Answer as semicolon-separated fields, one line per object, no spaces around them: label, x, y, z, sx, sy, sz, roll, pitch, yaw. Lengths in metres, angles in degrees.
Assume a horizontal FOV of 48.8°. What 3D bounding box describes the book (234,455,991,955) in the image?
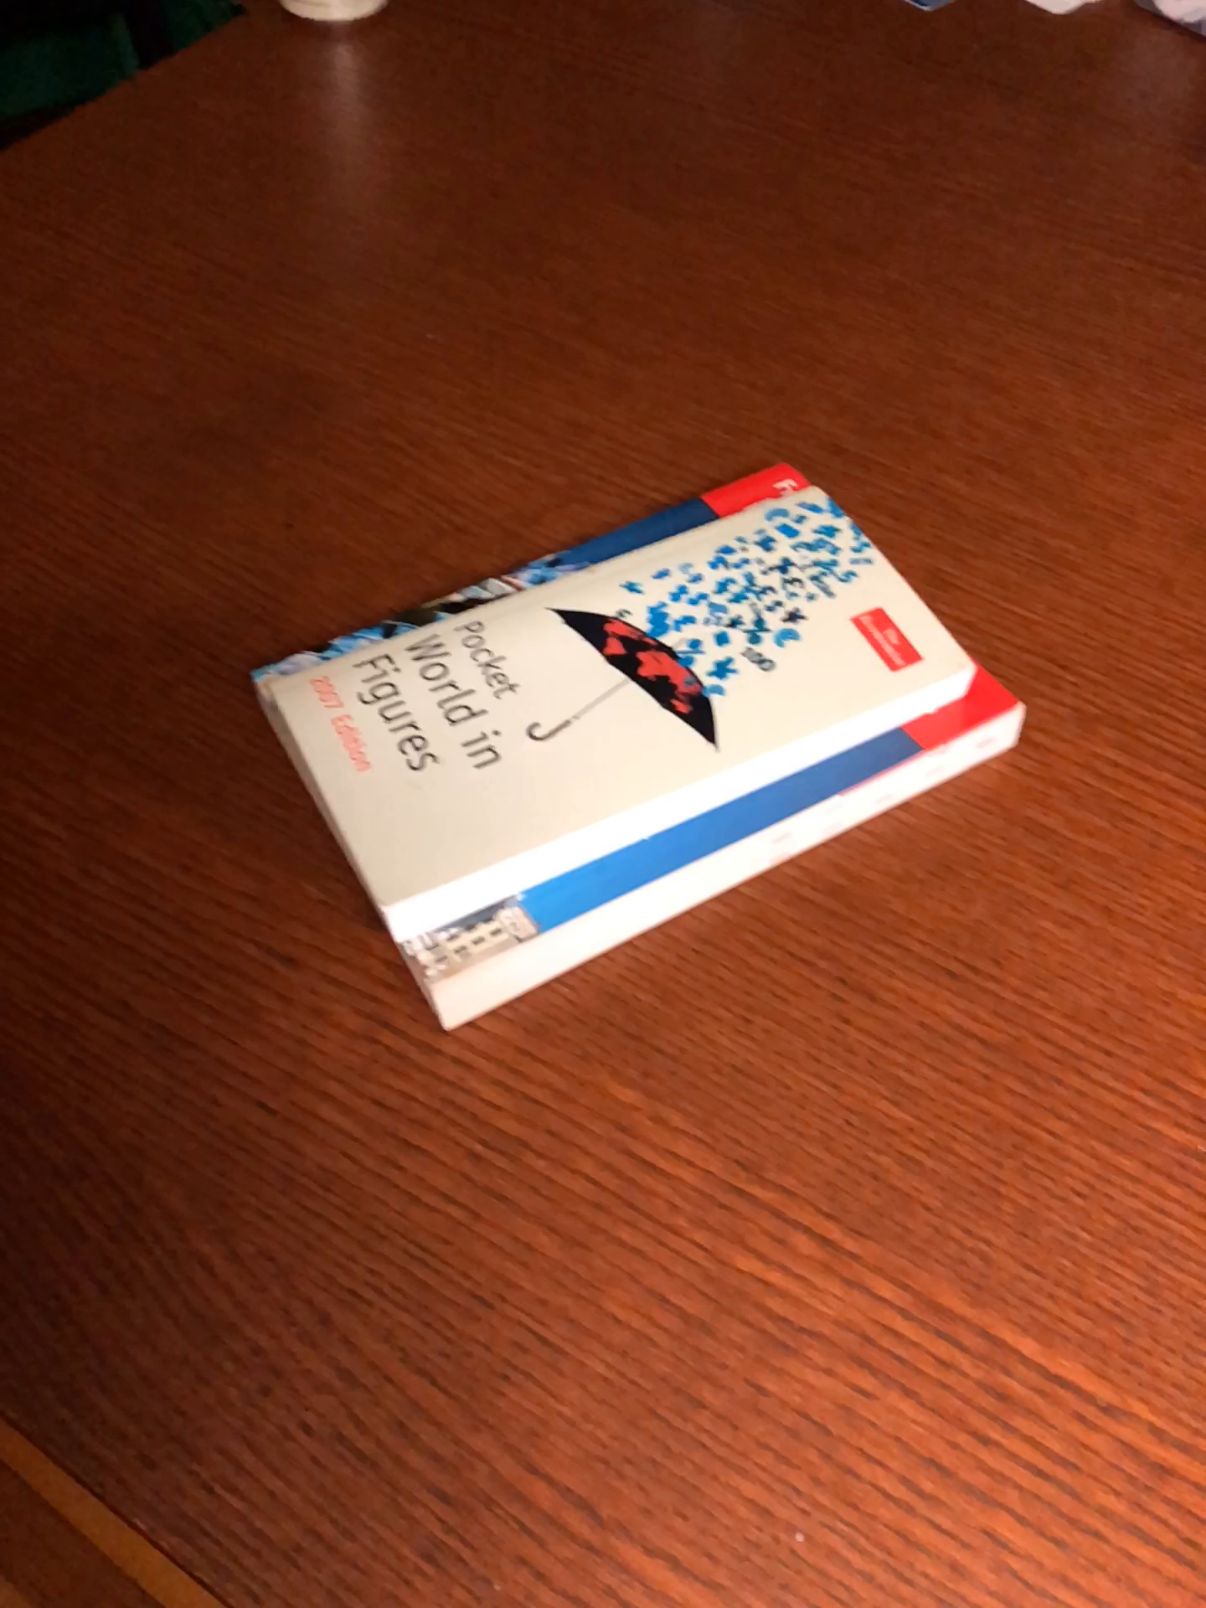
book;0.003;-0.039;0.400;0.200;0.020;0.100;-22;58;-16

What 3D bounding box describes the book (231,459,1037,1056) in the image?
book;0.008;-0.028;0.423;0.210;0.020;0.141;-24;59;-18
